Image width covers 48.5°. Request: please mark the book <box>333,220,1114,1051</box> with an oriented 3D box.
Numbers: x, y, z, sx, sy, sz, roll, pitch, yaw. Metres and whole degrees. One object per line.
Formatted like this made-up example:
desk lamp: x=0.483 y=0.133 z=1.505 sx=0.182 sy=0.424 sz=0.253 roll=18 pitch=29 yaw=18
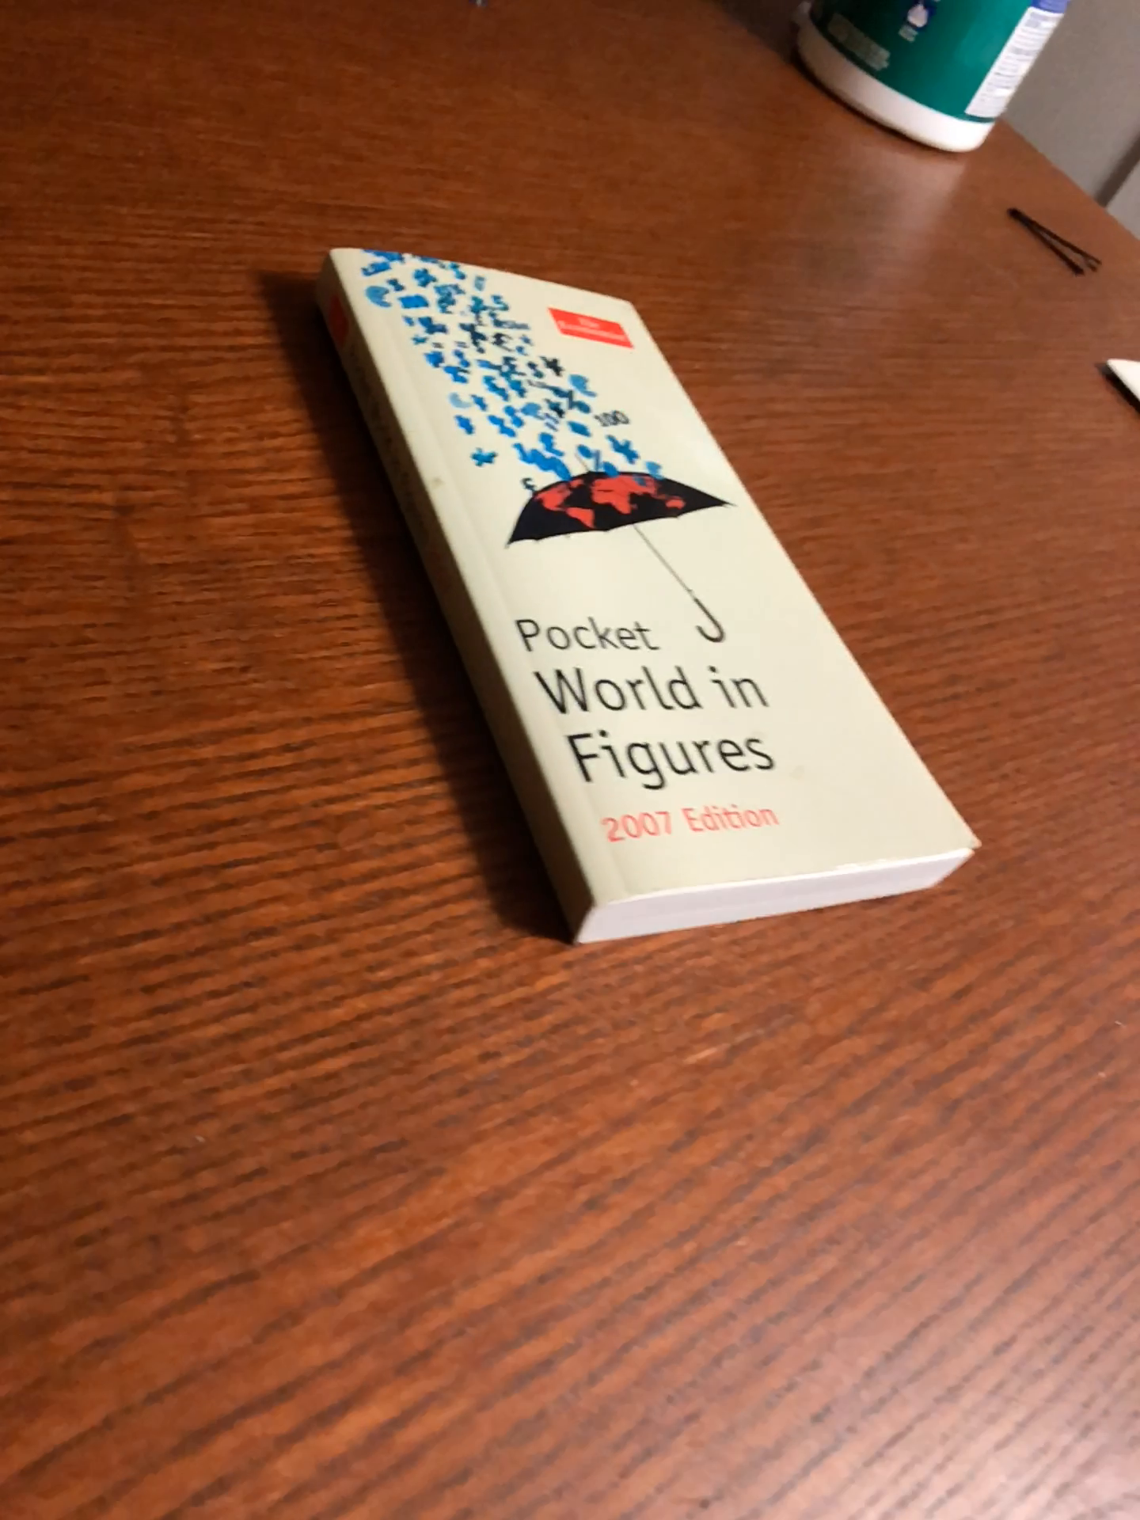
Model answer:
book: x=0.022 y=-0.041 z=0.280 sx=0.100 sy=0.030 sz=0.201 roll=-2 pitch=53 yaw=-30
